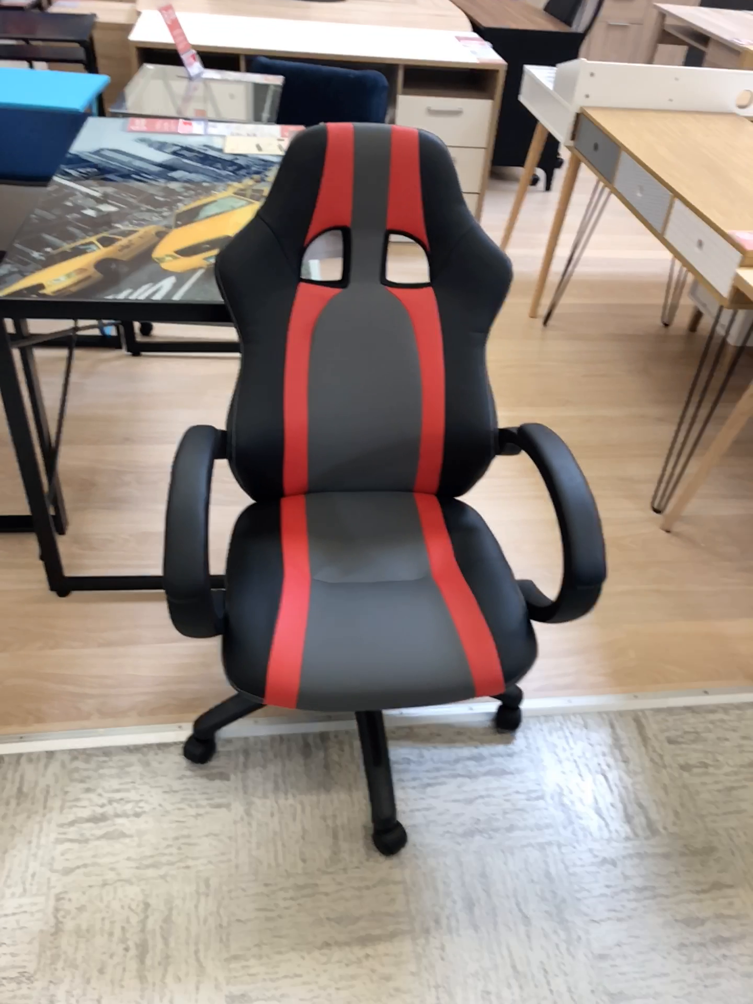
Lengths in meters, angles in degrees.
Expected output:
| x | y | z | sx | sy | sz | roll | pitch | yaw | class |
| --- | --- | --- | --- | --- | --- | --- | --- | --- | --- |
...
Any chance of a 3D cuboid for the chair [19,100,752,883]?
| x | y | z | sx | sy | sz | roll | pitch | yaw | class |
| --- | --- | --- | --- | --- | --- | --- | --- | --- | --- |
| -0.018 | -0.014 | 1.260 | 0.691 | 0.924 | 0.694 | -1 | 38 | -8 | chair |
